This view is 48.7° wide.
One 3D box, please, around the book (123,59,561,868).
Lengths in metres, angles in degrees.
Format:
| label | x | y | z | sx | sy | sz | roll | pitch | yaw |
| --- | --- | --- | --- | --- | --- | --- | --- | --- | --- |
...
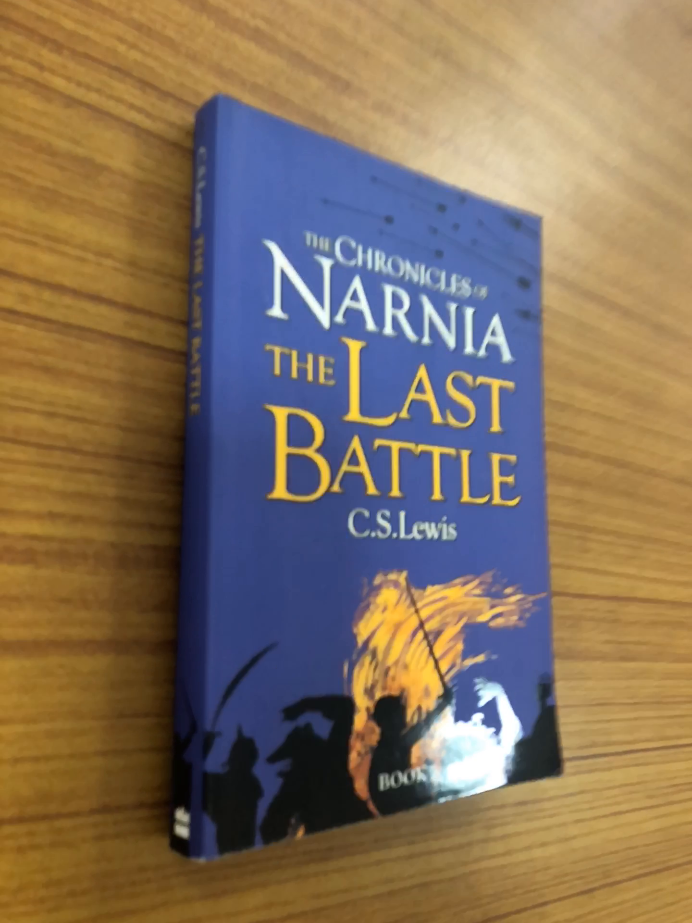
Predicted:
| label | x | y | z | sx | sy | sz | roll | pitch | yaw |
| --- | --- | --- | --- | --- | --- | --- | --- | --- | --- |
| book | 0.008 | 0.001 | 0.241 | 0.141 | 0.030 | 0.200 | 6 | 80 | -37 |
